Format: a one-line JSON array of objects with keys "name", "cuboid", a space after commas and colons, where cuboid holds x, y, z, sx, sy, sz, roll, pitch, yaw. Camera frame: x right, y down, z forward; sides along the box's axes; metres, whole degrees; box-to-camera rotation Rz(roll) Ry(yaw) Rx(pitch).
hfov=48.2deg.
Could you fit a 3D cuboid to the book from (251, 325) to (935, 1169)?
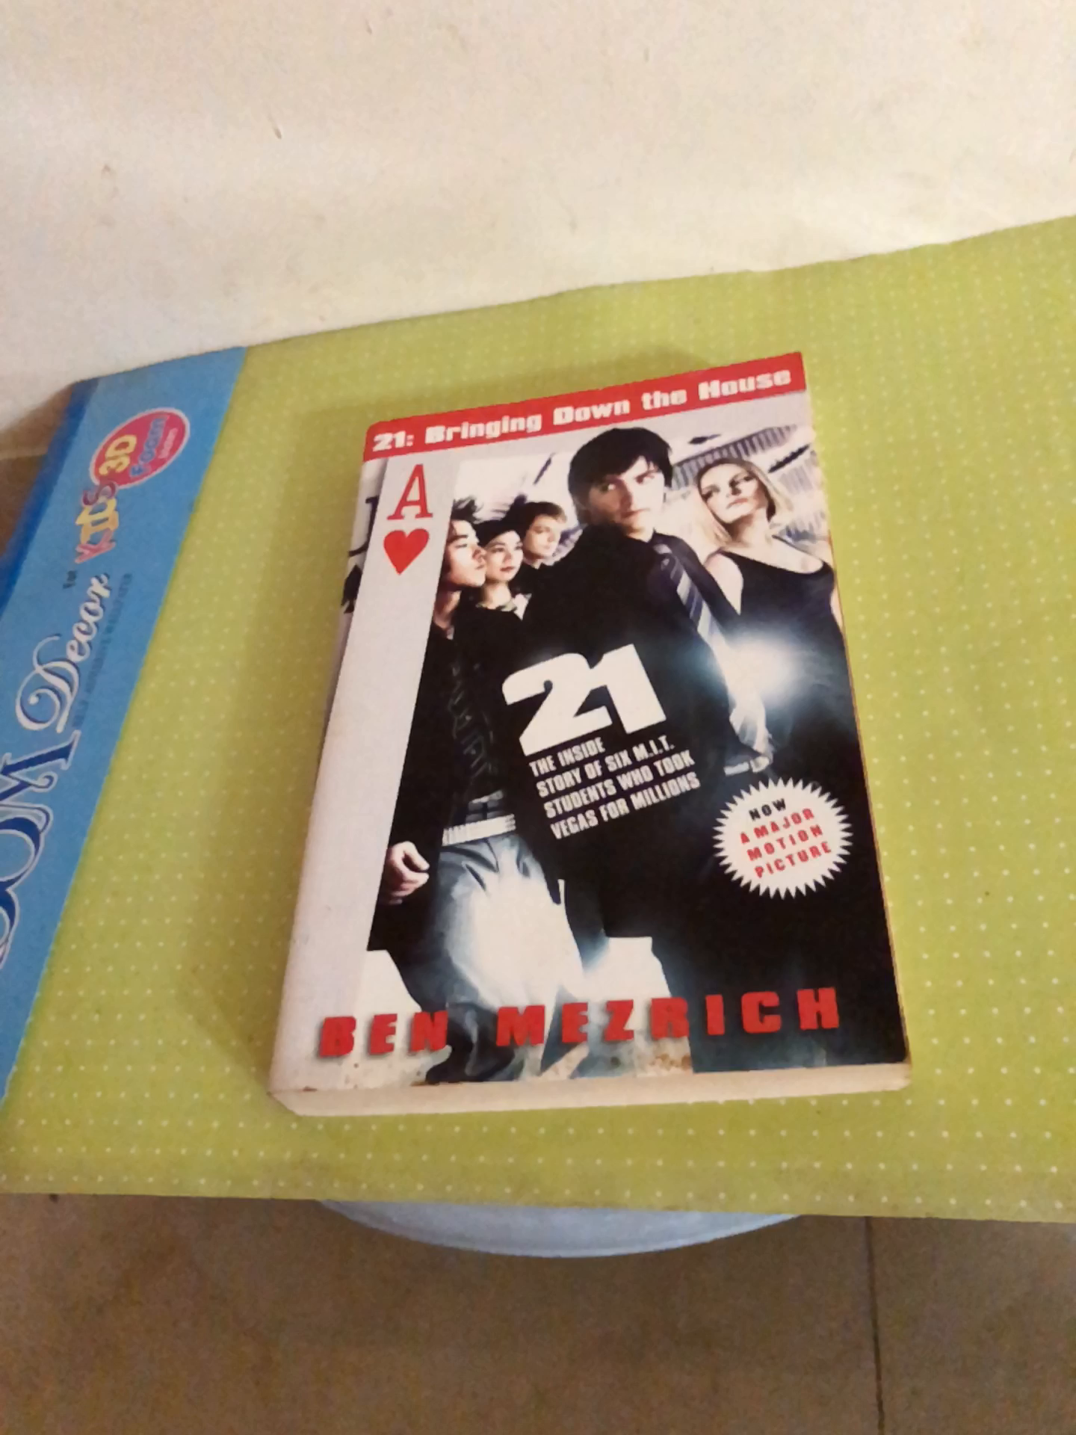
[{"name": "book", "cuboid": [0.013, -0.003, 0.301, 0.130, 0.040, 0.210, -6, 55, 11]}]
